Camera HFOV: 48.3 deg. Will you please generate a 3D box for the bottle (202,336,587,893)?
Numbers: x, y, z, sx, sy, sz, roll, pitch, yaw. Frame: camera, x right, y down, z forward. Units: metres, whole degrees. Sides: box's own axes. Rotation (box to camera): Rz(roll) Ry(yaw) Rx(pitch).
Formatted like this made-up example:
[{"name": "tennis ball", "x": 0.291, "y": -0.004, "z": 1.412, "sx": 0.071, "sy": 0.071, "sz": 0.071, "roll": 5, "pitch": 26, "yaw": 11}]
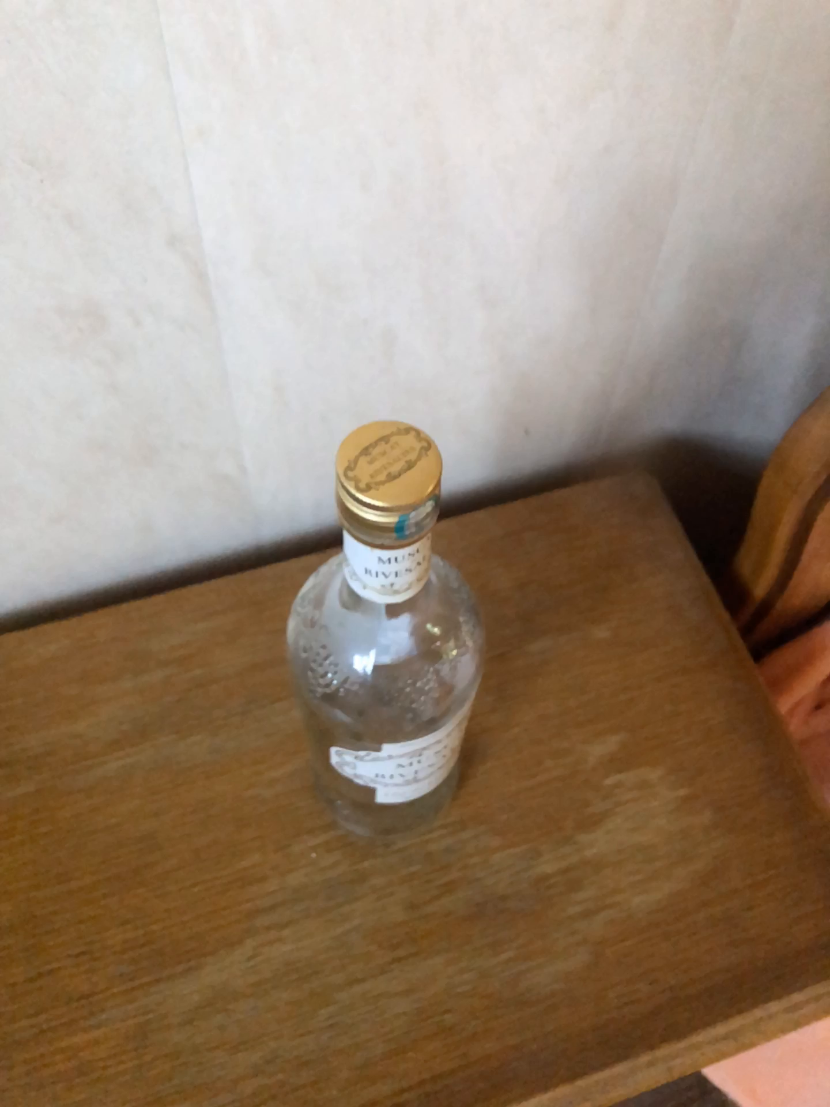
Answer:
[{"name": "bottle", "x": -0.013, "y": 0.053, "z": 0.383, "sx": 0.080, "sy": 0.289, "sz": 0.080, "roll": 1, "pitch": 58, "yaw": -2}]
